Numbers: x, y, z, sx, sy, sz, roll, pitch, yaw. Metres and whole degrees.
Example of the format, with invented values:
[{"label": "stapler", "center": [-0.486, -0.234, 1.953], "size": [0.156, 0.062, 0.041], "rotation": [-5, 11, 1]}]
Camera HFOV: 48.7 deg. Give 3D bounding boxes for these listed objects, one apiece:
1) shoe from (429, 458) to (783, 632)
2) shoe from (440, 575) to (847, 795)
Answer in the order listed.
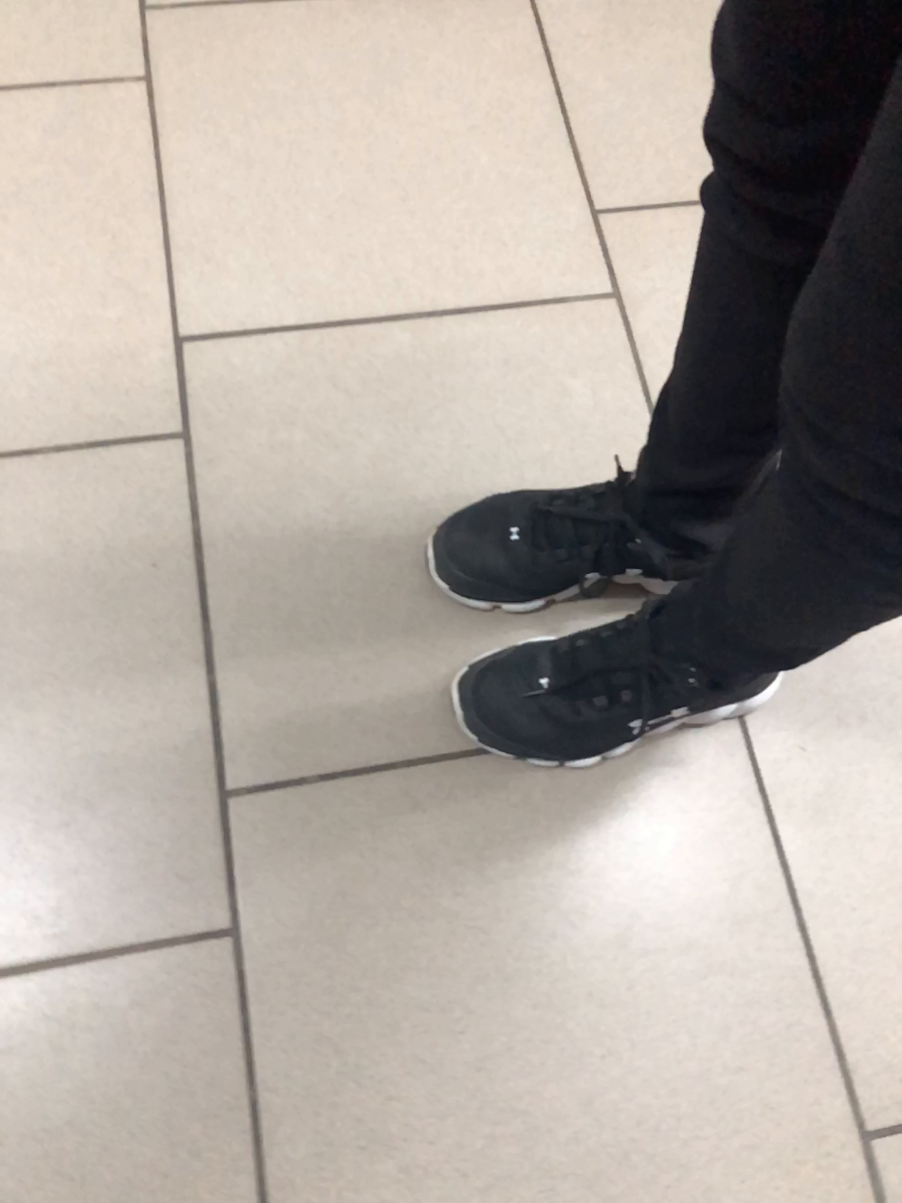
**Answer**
[{"label": "shoe", "center": [0.116, -0.043, 0.802], "size": [0.260, 0.090, 0.110], "rotation": [0, 69, -5]}, {"label": "shoe", "center": [0.136, 0.064, 0.750], "size": [0.270, 0.090, 0.110], "rotation": [-7, 69, -7]}]
